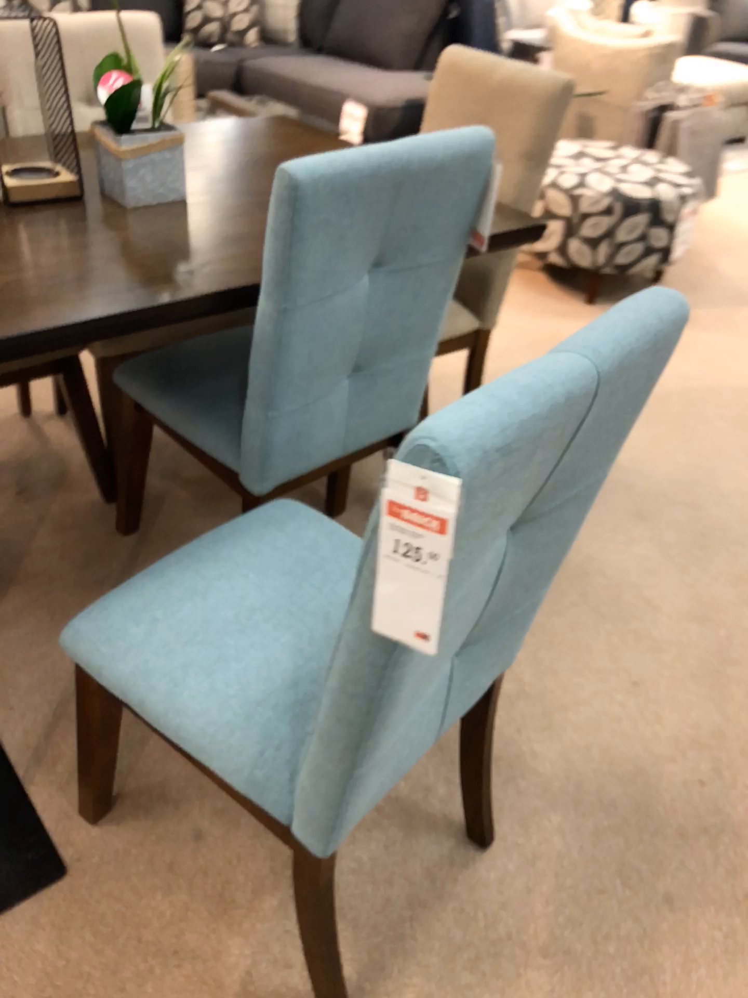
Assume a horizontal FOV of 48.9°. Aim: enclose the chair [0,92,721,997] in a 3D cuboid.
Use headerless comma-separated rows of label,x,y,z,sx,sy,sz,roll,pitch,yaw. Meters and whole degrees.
chair,-0.131,0.116,1.053,0.622,0.993,0.542,31,43,28
